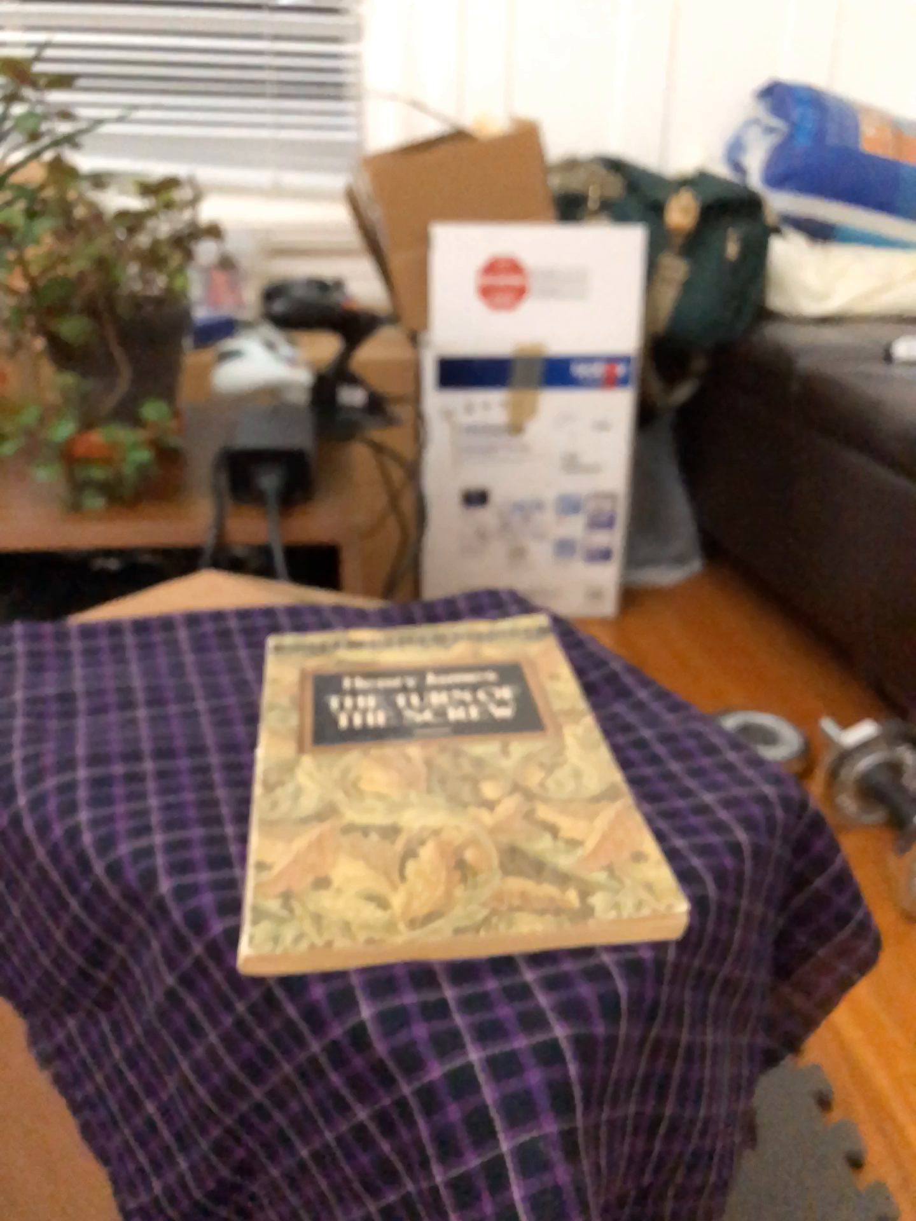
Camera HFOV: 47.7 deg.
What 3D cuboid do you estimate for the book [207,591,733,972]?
[{"bbox_3d":[-0.009,0.042,0.375,0.140,0.010,0.221,-2,24,-8],"label":"book"}]
